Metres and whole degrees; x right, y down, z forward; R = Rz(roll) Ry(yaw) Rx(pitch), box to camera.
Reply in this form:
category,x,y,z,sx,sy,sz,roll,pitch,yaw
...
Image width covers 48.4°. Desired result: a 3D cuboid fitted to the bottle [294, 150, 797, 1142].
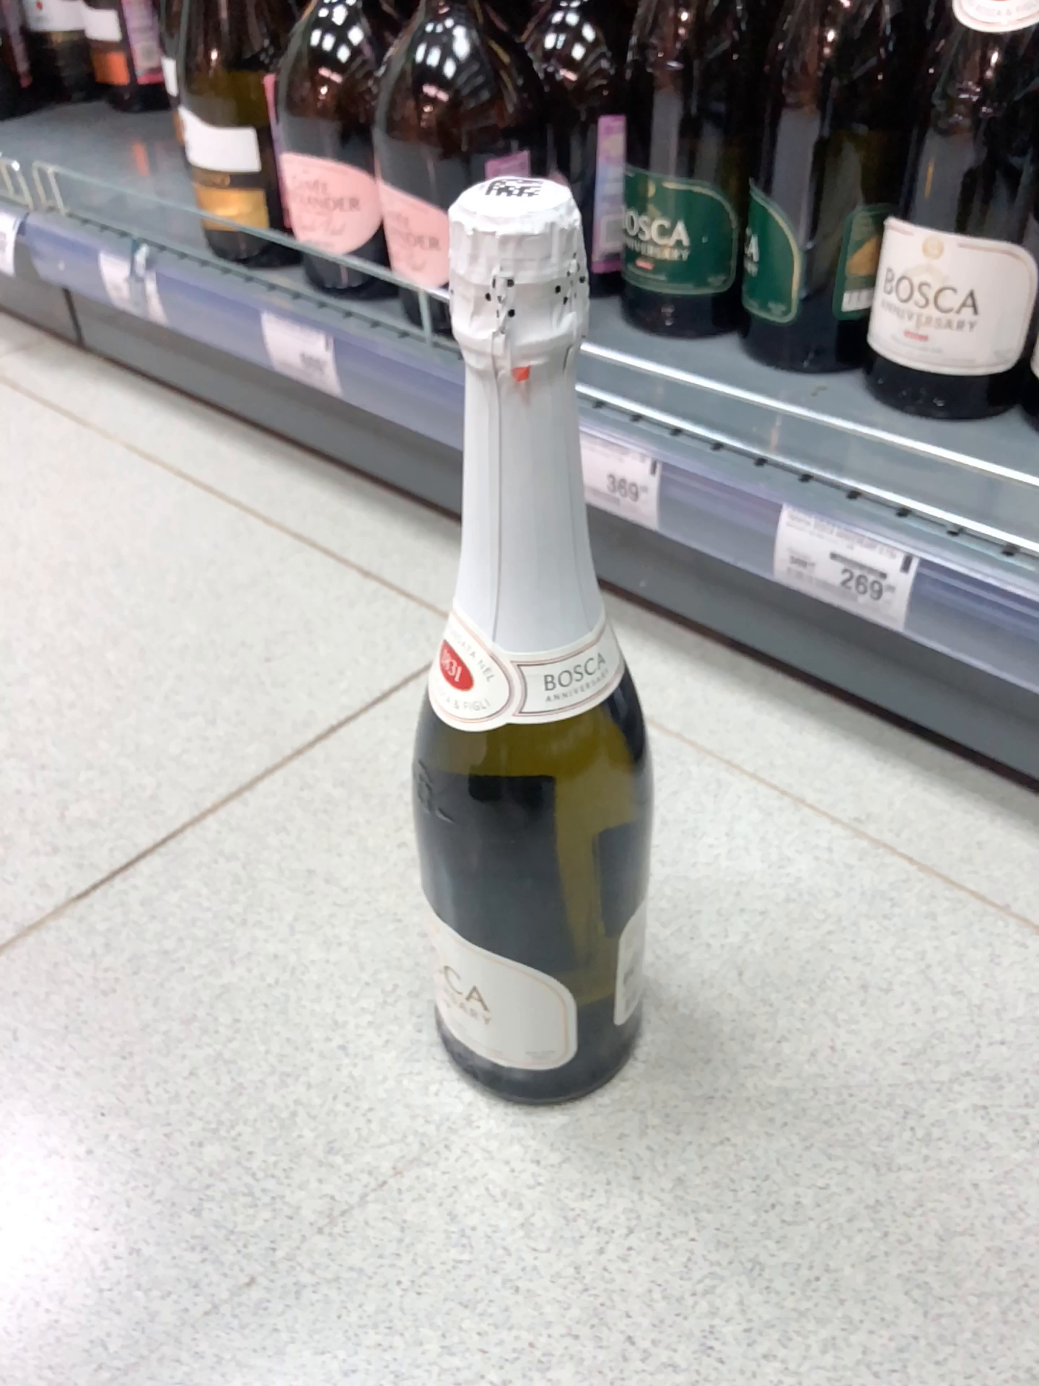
category,x,y,z,sx,sy,sz,roll,pitch,yaw
bottle,0.007,0.005,0.376,0.090,0.308,0.090,-1,38,1
